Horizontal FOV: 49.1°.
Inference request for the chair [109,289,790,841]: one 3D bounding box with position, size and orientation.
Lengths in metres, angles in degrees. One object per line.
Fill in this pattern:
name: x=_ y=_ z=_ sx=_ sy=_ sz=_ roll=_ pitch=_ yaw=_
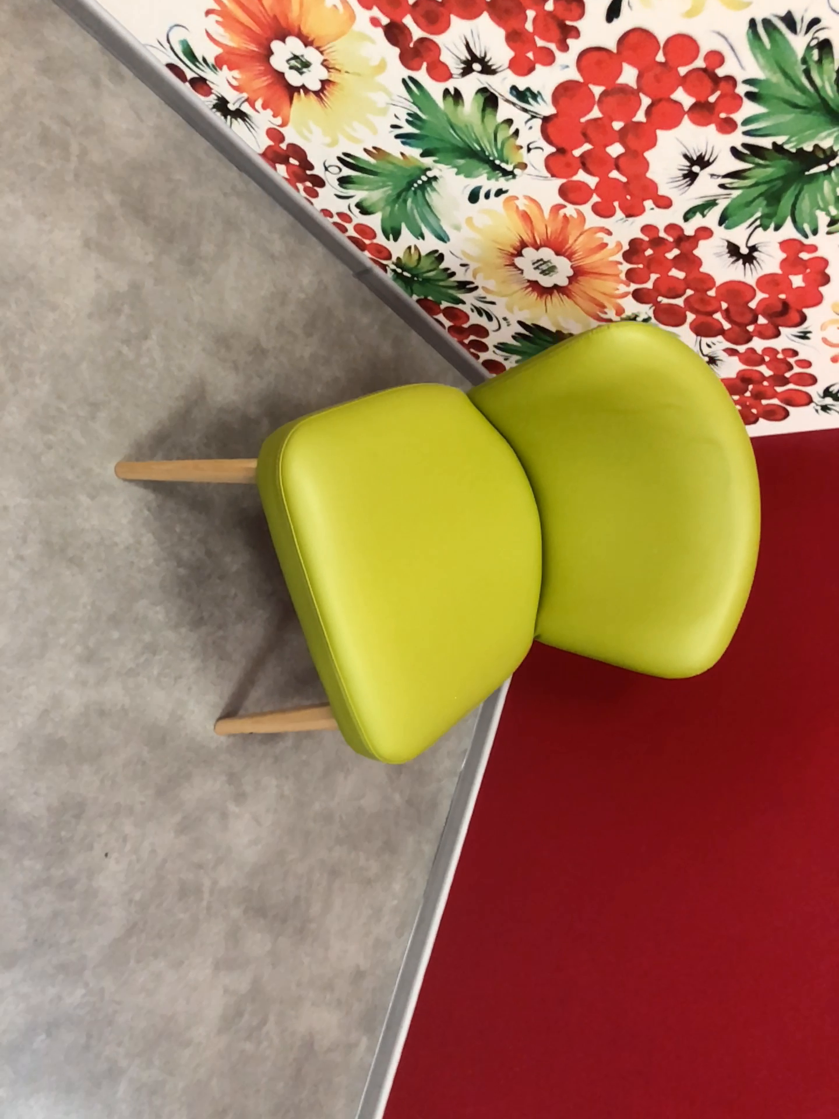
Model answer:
chair: x=0.037 y=-0.026 z=1.431 sx=0.573 sy=0.776 sz=0.520 roll=-28 pitch=109 yaw=-41
